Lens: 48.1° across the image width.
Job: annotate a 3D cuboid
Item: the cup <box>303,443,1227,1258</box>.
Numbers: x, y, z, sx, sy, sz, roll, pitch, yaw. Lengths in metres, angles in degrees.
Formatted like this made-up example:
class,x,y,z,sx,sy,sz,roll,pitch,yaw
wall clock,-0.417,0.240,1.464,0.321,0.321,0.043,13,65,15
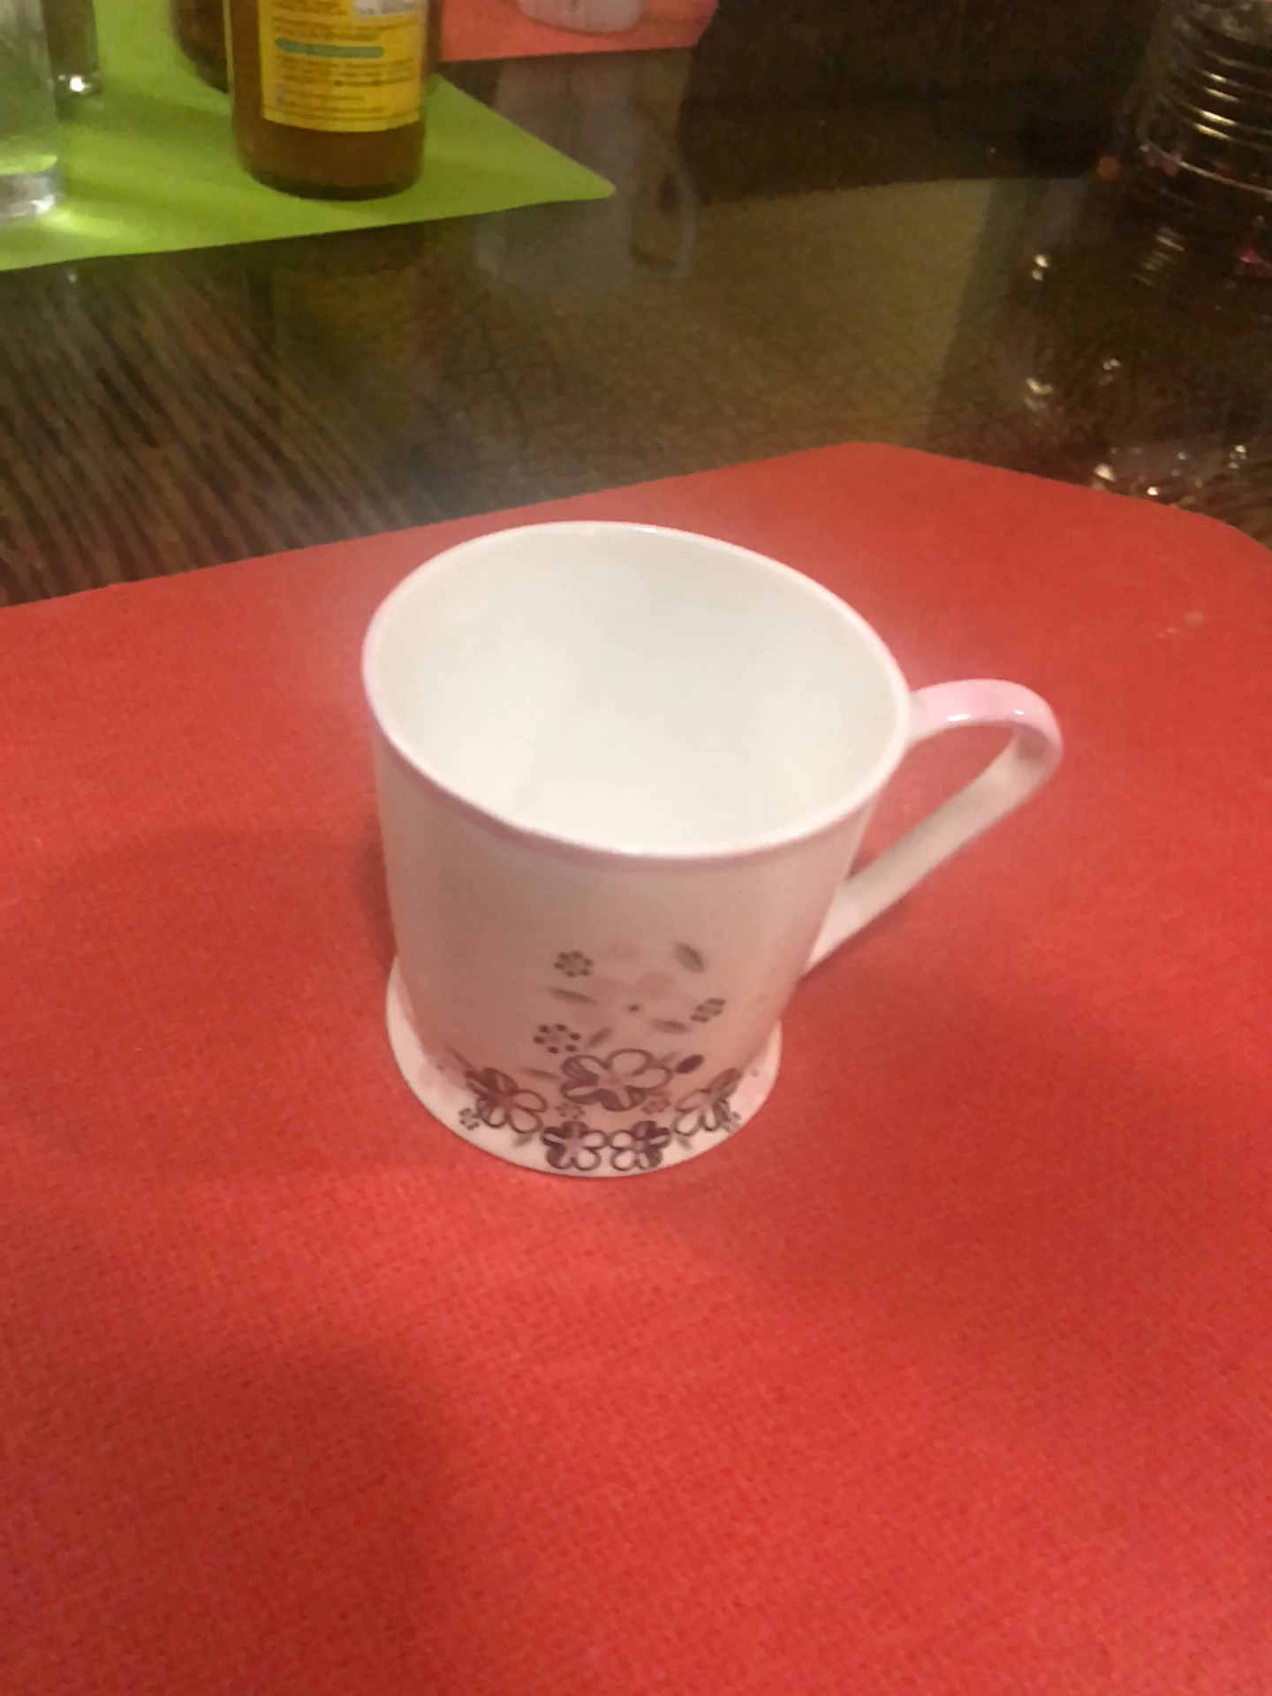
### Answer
class,x,y,z,sx,sy,sz,roll,pitch,yaw
cup,0.009,-0.003,0.208,0.100,0.080,0.070,-8,45,-18
